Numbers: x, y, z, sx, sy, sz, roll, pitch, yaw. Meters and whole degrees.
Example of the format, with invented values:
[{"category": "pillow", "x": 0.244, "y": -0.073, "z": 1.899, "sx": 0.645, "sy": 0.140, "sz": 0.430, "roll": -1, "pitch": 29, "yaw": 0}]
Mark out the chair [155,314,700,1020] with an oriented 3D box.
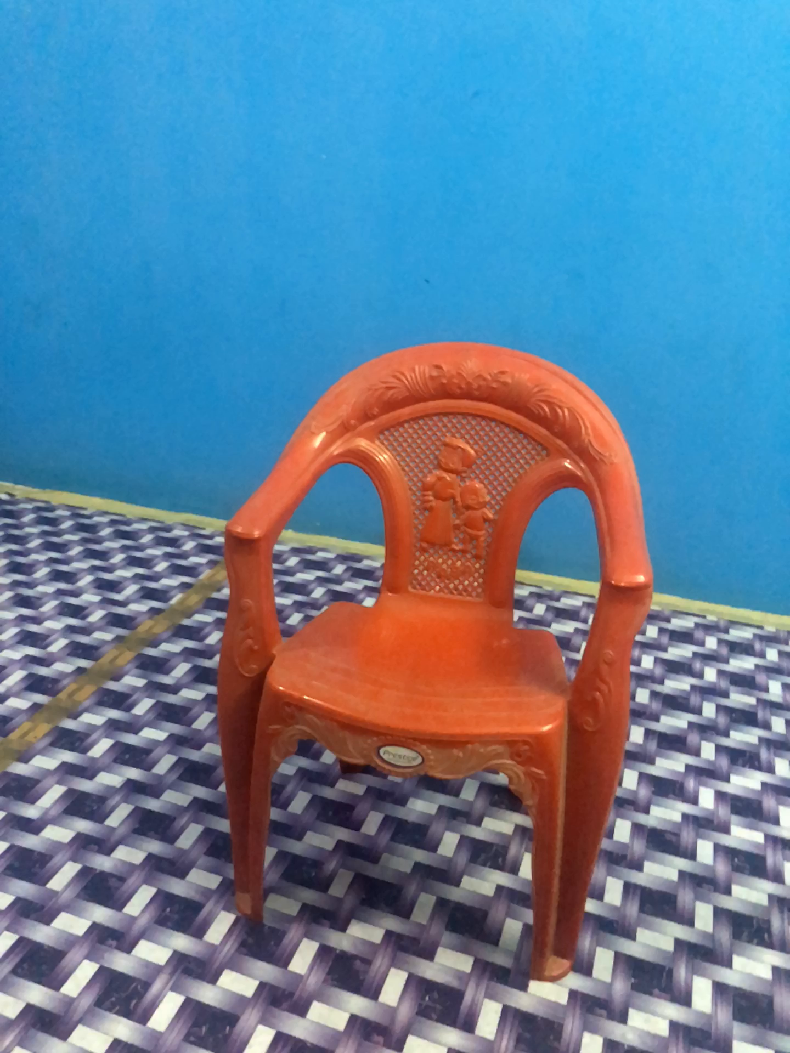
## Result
[{"category": "chair", "x": 0.044, "y": 0.108, "z": 0.919, "sx": 0.410, "sy": 0.557, "sz": 0.382, "roll": 8, "pitch": 24, "yaw": 12}]
